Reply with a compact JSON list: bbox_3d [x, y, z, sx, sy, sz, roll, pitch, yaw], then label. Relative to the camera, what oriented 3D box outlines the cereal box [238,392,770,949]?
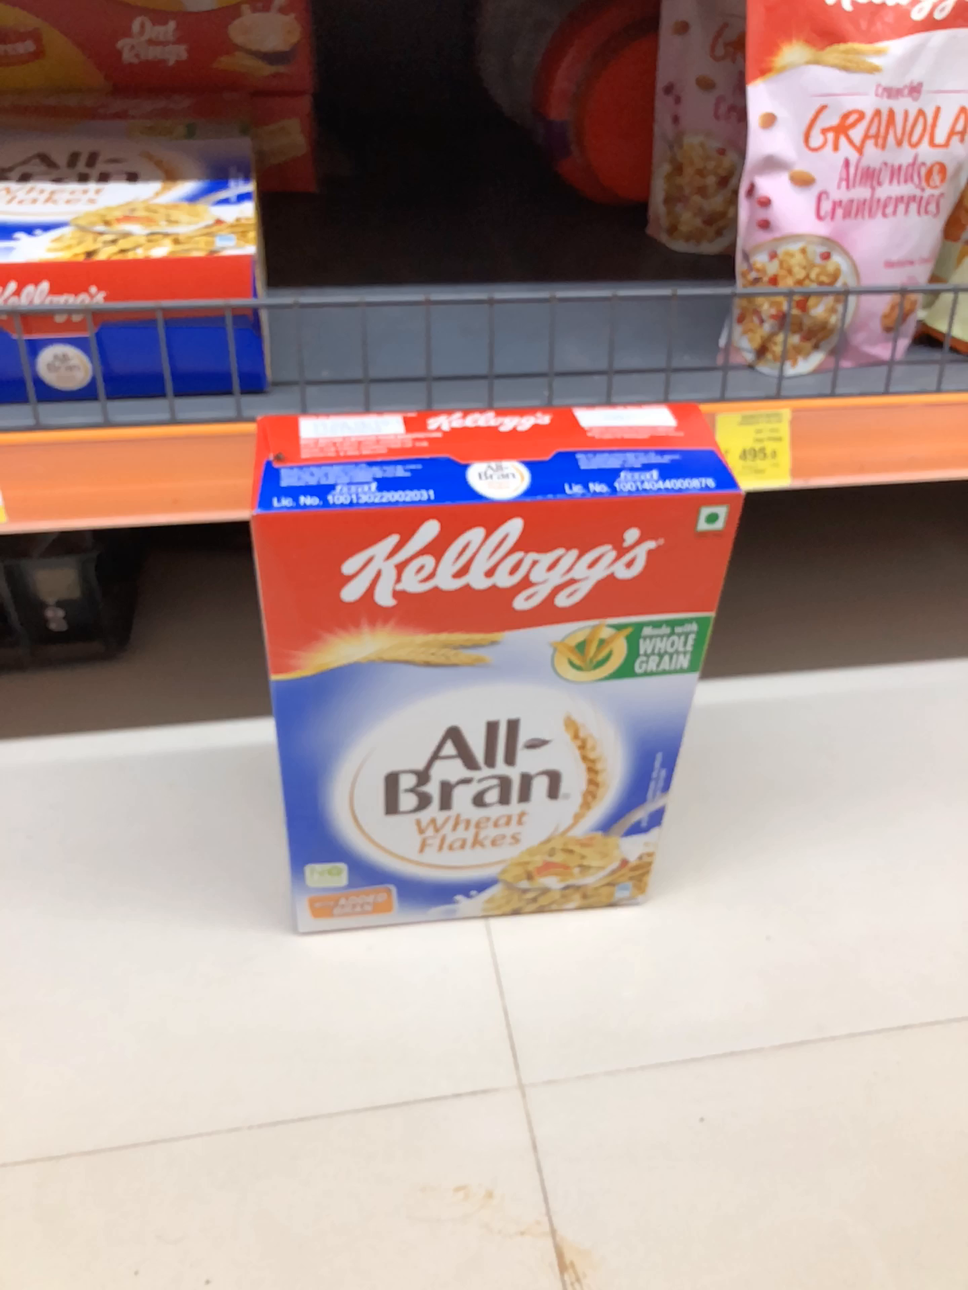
[{"bbox_3d":[-0.002,0.022,0.495,0.190,0.258,0.080,-3,42,-8],"label":"cereal box"}]
